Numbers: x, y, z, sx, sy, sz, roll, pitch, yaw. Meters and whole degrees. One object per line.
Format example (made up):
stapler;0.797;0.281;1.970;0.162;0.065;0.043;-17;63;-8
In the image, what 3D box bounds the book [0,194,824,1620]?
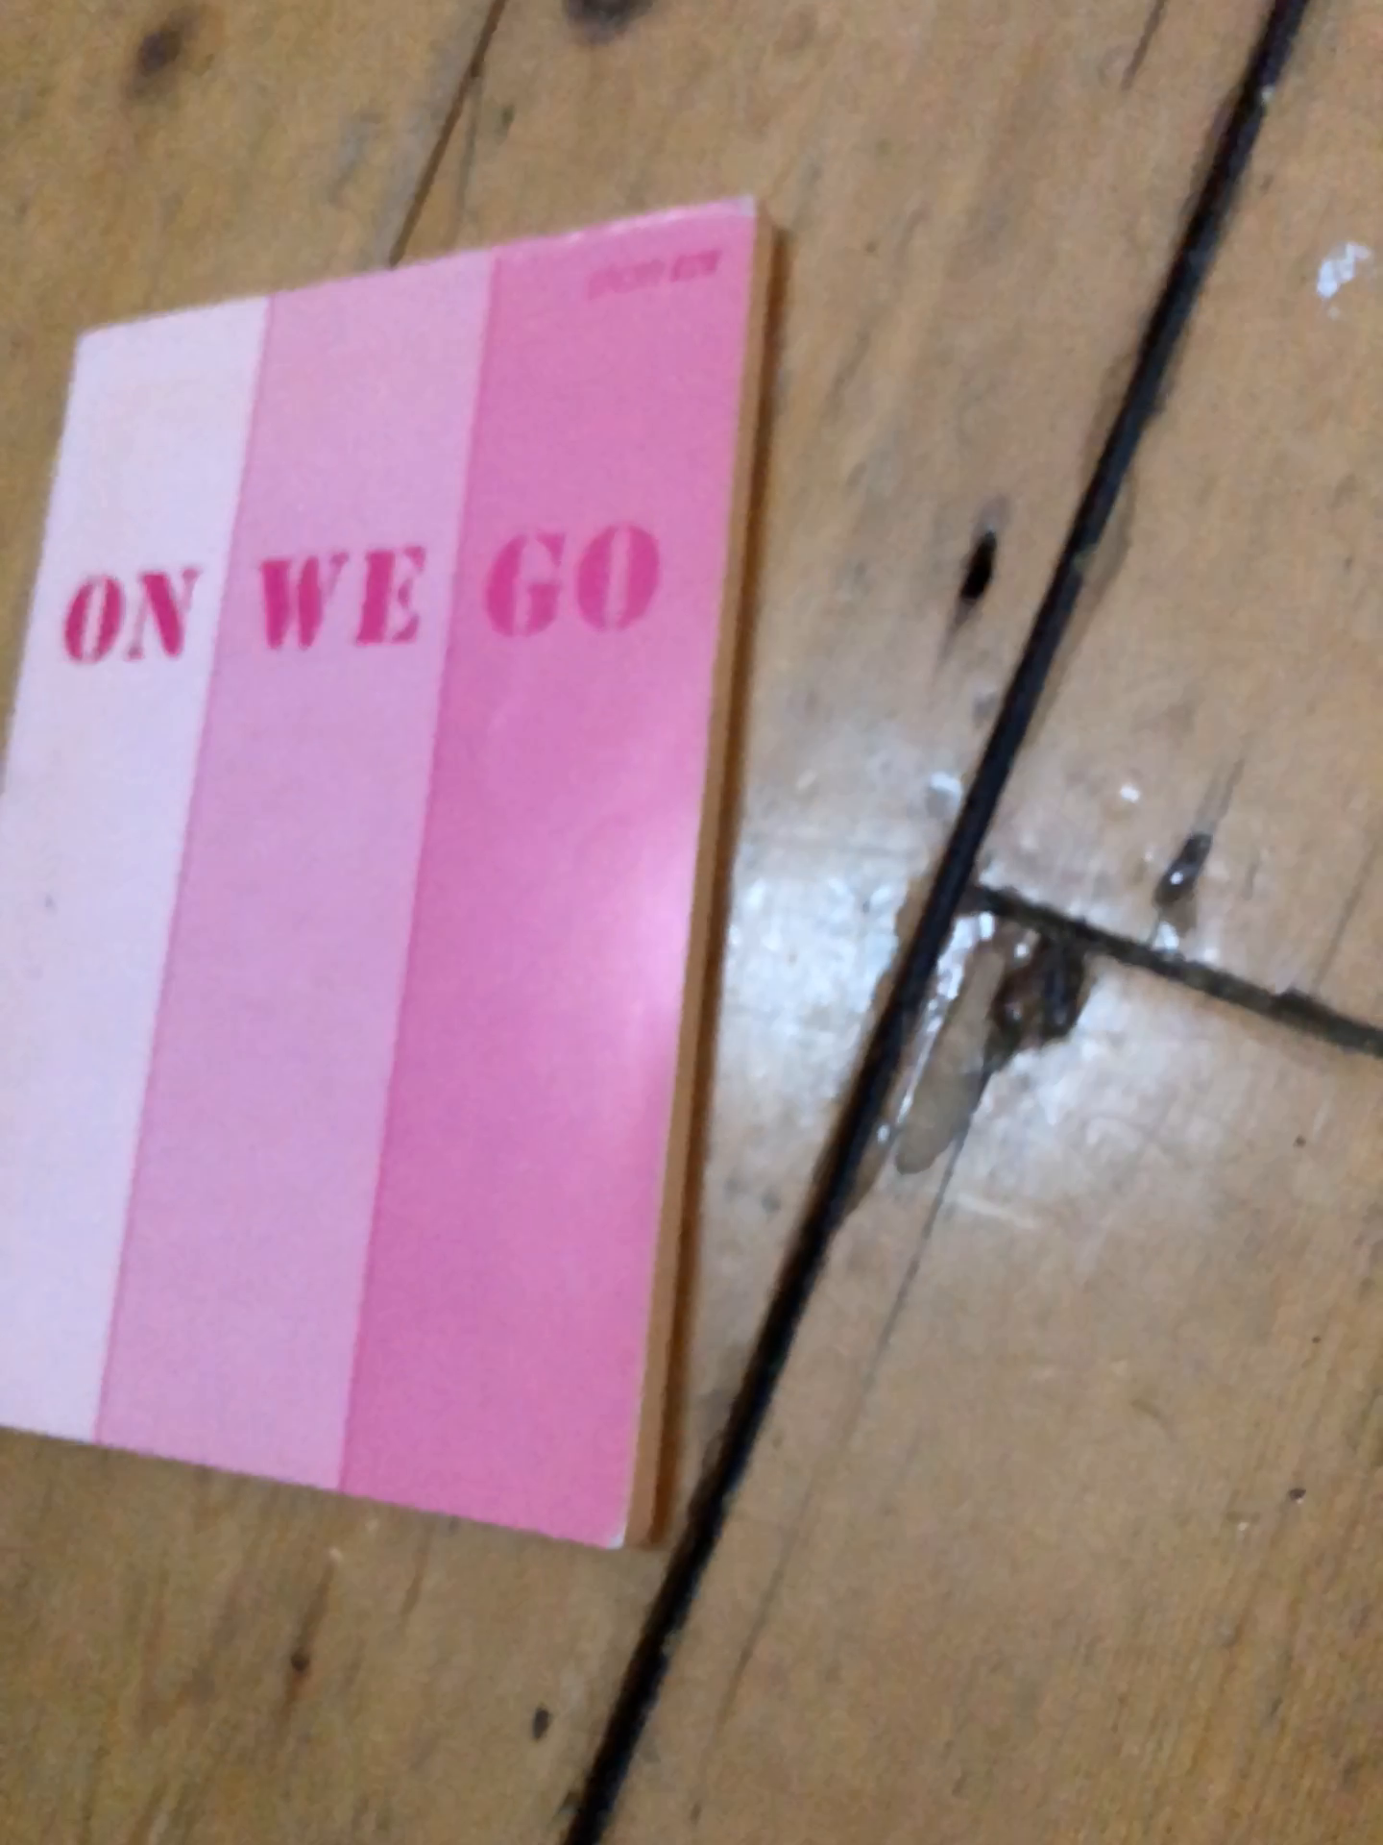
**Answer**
book;-0.063;-0.010;0.280;0.160;0.020;0.220;1;79;25
